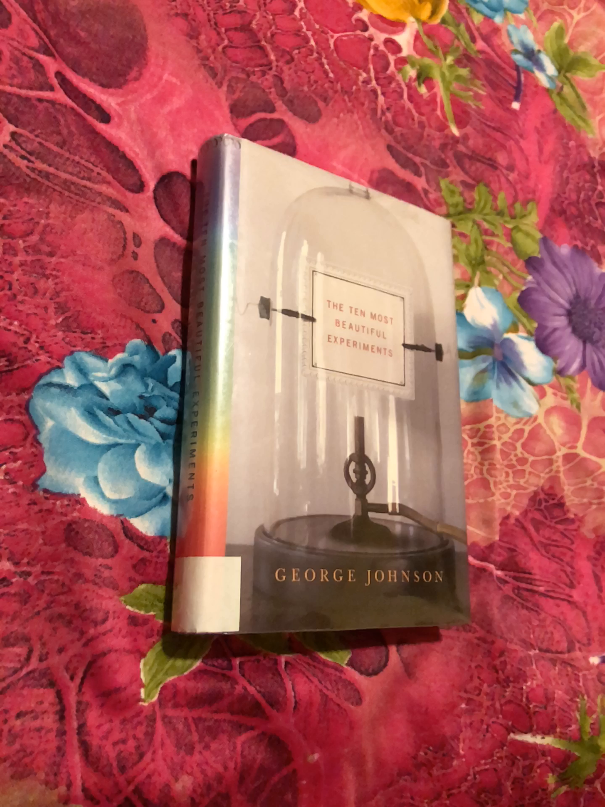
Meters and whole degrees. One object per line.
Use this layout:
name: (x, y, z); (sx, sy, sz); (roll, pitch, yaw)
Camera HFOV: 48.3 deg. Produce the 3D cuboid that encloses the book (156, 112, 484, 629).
book: (0.012, -0.009, 0.299); (0.141, 0.030, 0.200); (9, 73, -32)
